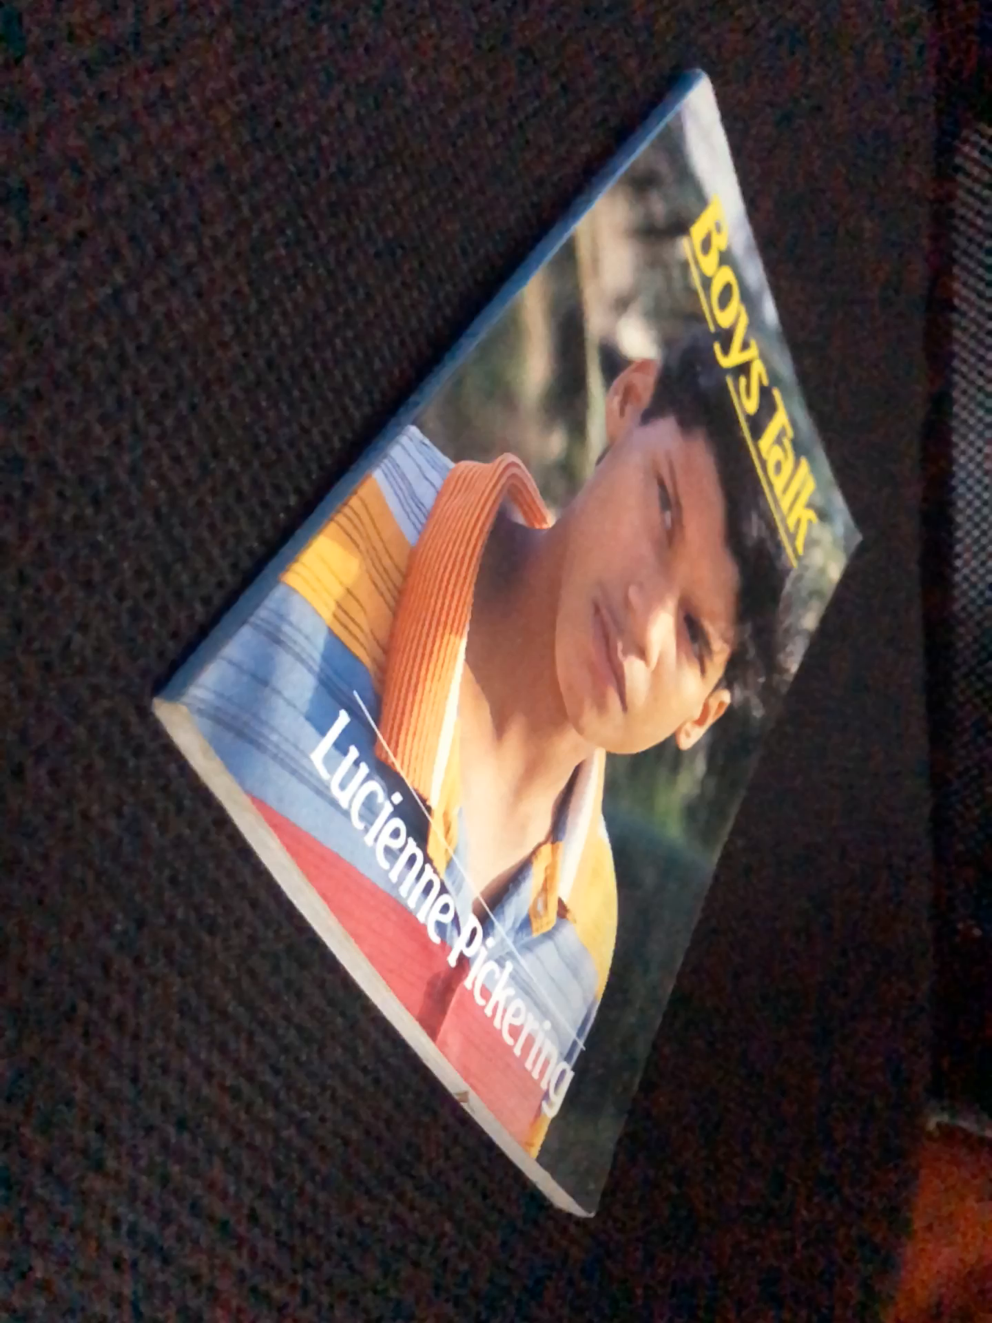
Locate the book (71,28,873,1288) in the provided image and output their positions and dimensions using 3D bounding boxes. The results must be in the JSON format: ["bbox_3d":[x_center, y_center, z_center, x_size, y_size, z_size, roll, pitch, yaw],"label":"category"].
[{"bbox_3d":[0.028,-0.012,0.202,0.191,0.010,0.131,-58,134,-36],"label":"book"}]
